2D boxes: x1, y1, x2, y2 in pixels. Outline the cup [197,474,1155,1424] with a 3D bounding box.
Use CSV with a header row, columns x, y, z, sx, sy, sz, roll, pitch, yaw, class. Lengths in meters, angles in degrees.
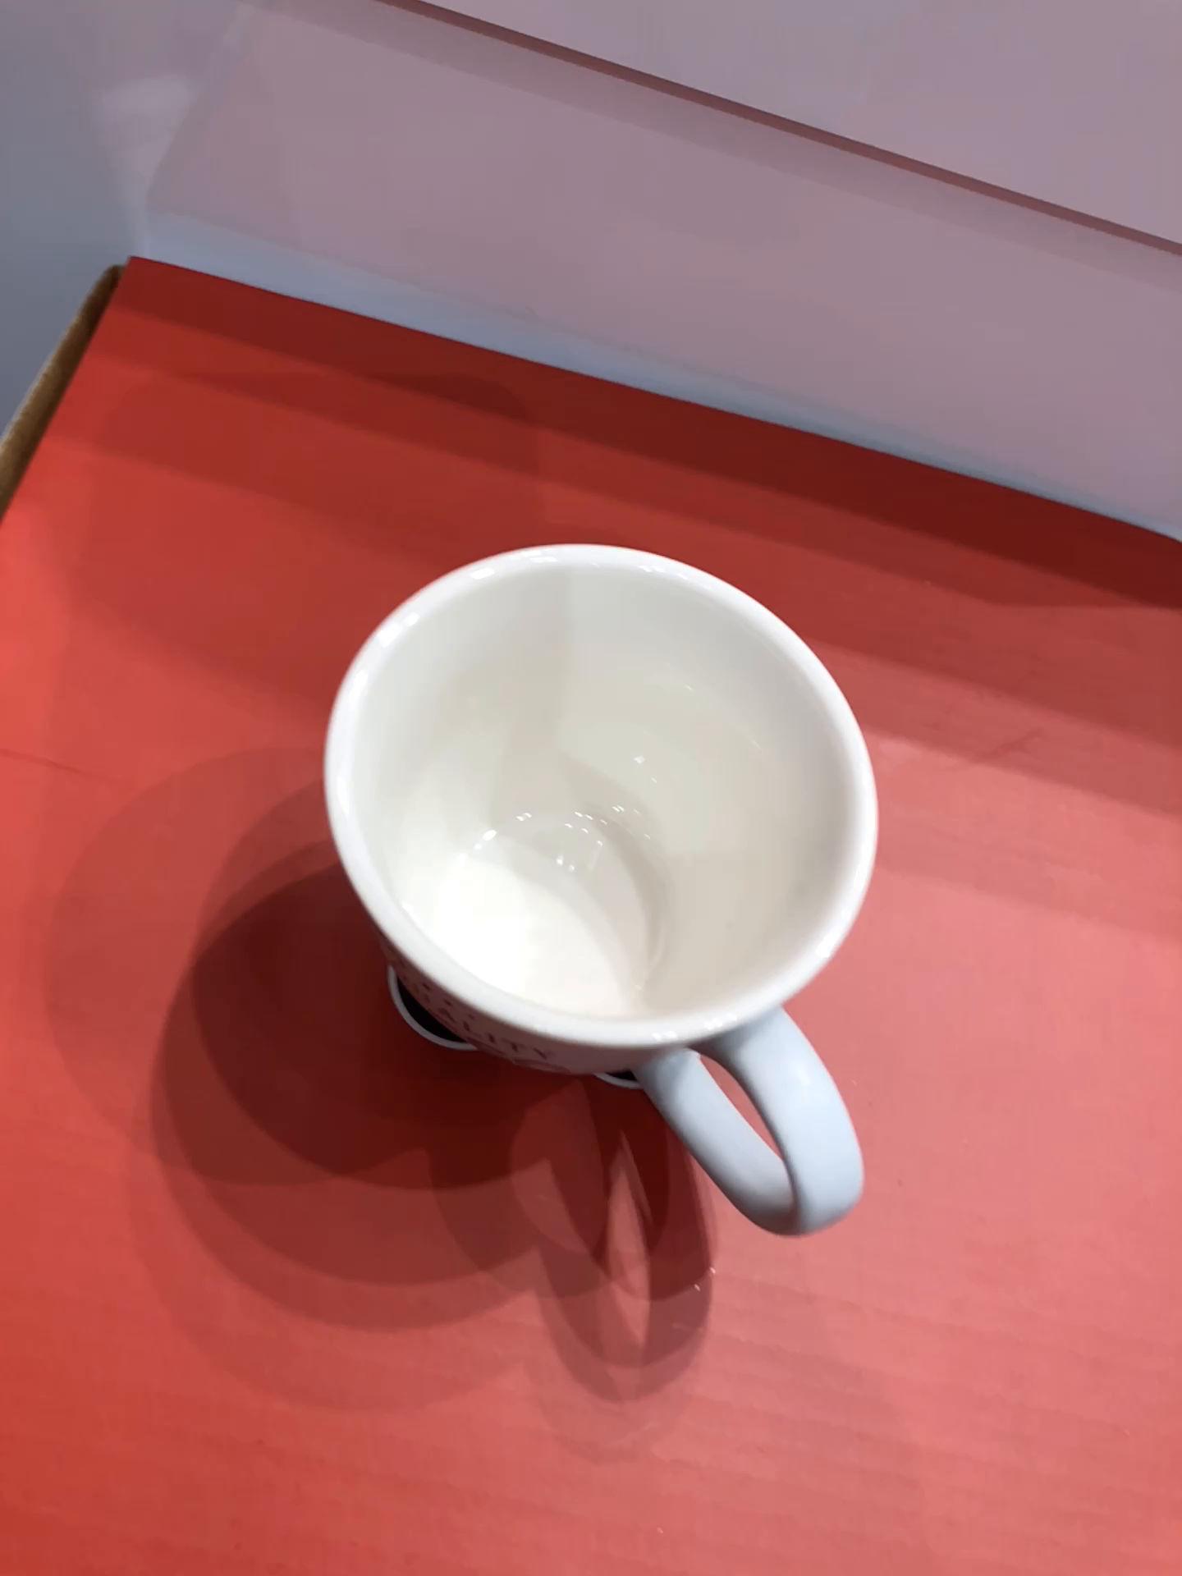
x,y,z,sx,sy,sz,roll,pitch,yaw,class
0.007,0.017,0.173,0.080,0.040,0.090,-24,71,-22,cup
